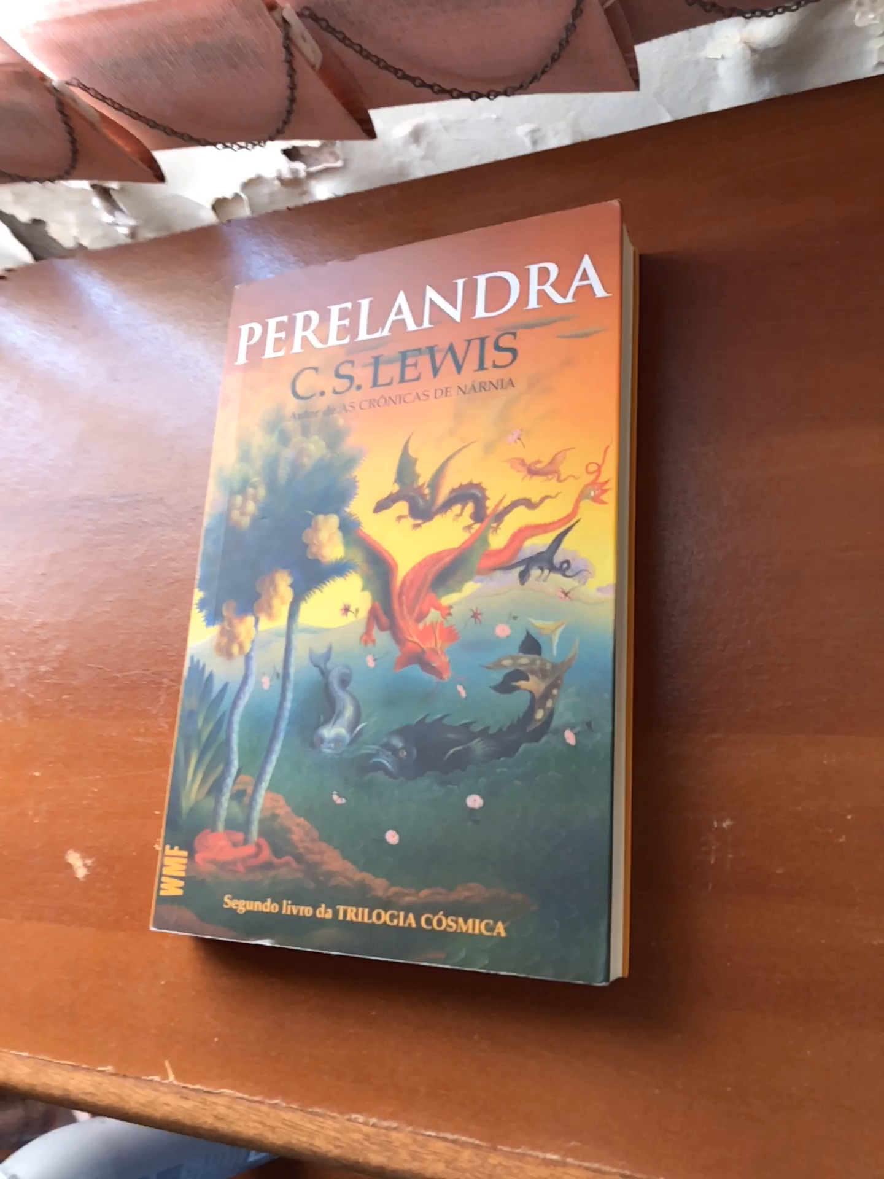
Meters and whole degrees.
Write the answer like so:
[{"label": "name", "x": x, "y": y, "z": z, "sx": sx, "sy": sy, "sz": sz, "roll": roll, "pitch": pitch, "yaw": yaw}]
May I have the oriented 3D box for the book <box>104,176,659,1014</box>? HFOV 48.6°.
[{"label": "book", "x": -0.013, "y": -0.002, "z": 0.254, "sx": 0.130, "sy": 0.030, "sz": 0.190, "roll": -4, "pitch": 72, "yaw": 25}]
